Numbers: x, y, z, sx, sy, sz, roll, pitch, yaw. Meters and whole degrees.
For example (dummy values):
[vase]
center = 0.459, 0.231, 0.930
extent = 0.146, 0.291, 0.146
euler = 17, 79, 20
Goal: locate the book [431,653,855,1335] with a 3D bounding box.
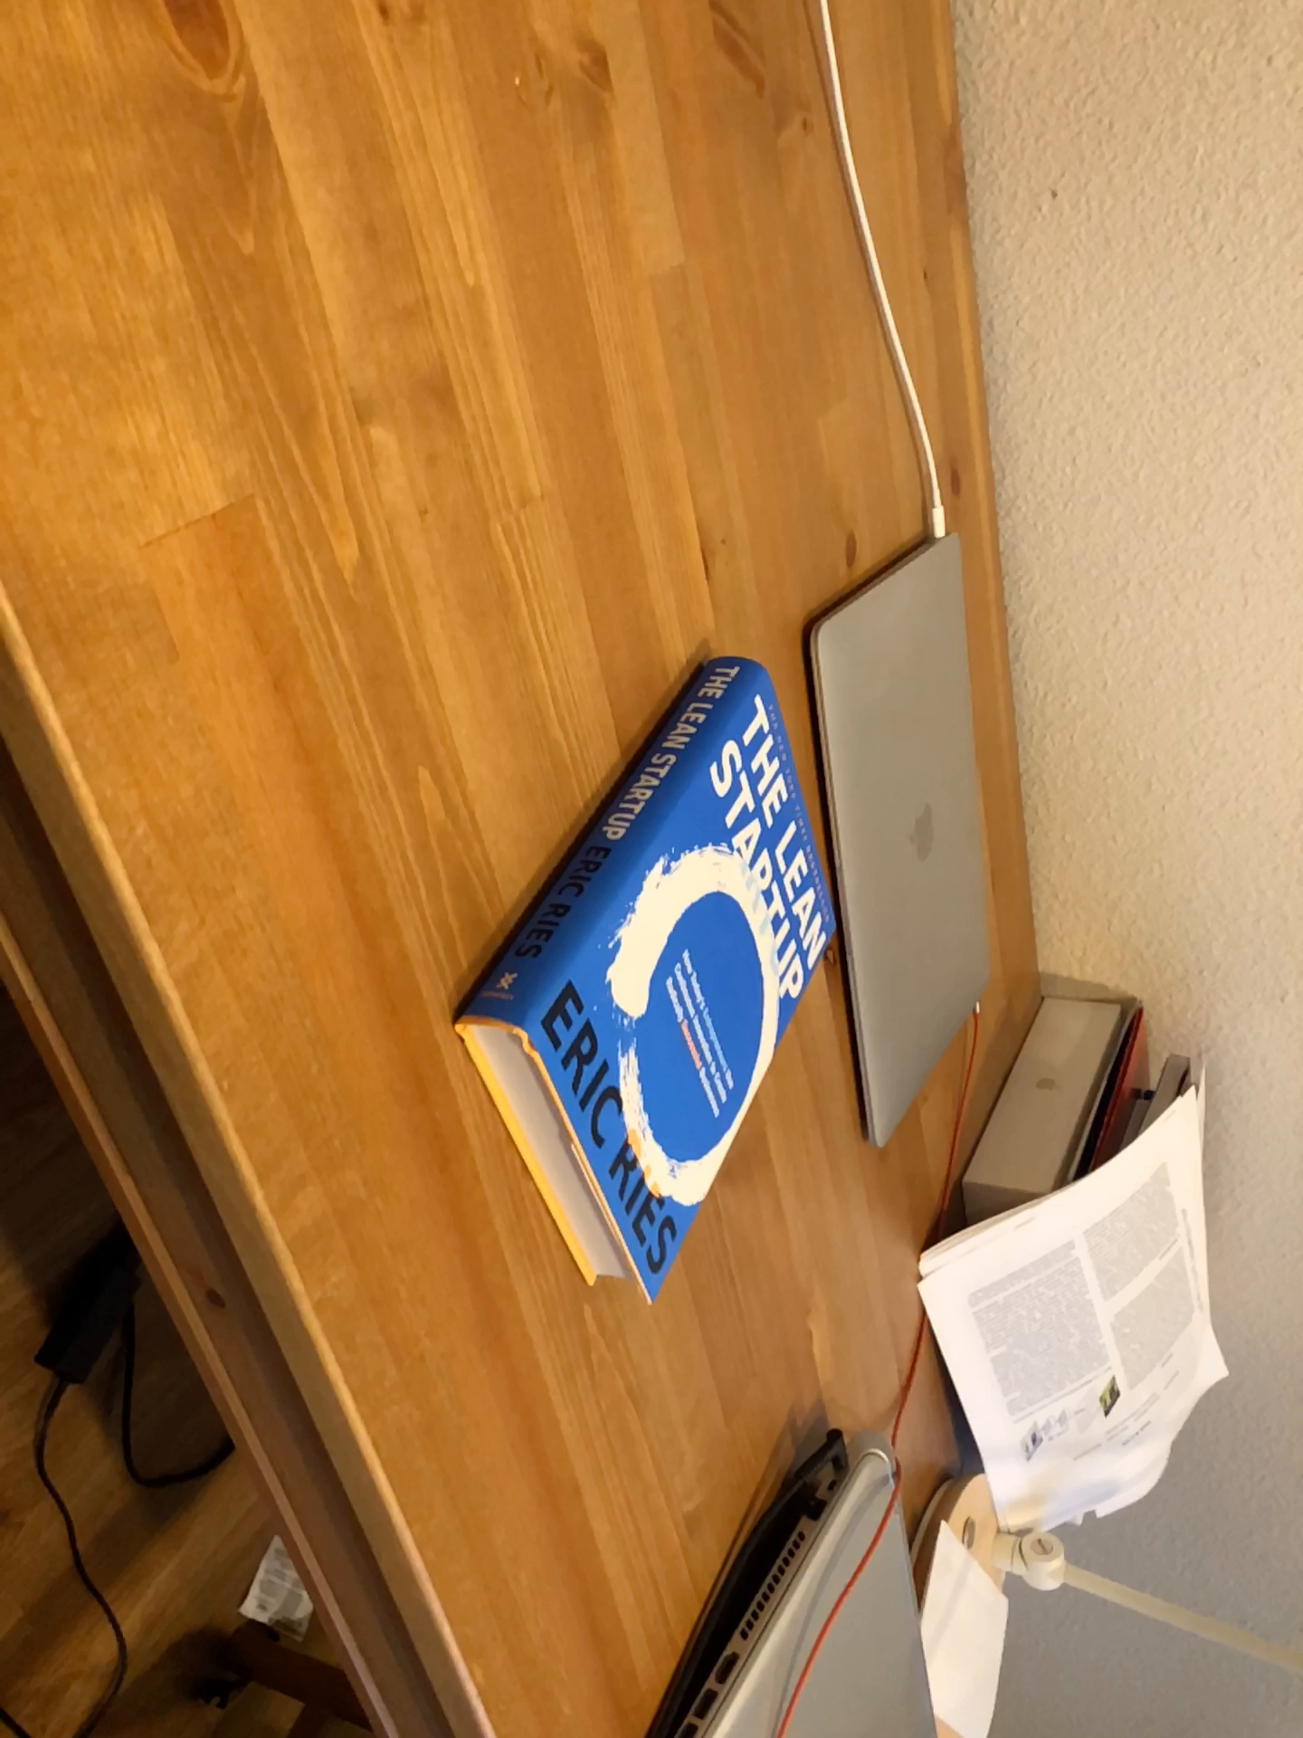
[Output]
[book]
center = 0.012, 0.042, 0.563
extent = 0.210, 0.040, 0.161
euler = -58, 140, -41
